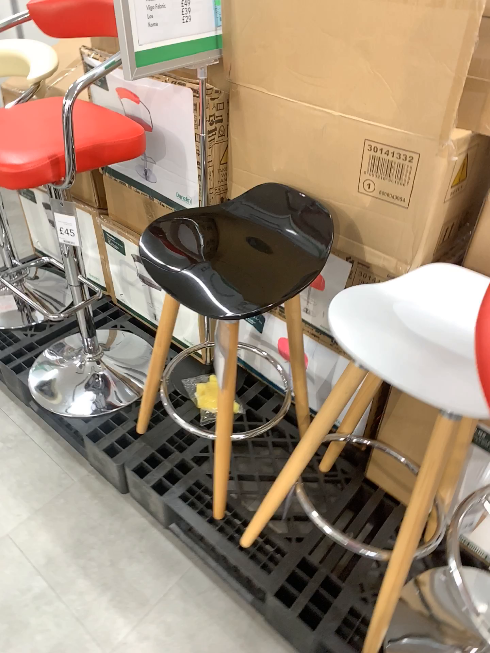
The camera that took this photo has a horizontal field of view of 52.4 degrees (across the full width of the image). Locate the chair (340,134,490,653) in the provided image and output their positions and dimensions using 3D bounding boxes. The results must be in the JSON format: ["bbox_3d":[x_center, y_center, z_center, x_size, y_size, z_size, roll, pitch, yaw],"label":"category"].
[{"bbox_3d":[0.546,0.329,0.723,0.476,0.978,0.479,30,45,31],"label":"chair"}]

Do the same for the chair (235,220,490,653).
[{"bbox_3d":[0.272,0.242,1.014,0.386,0.721,0.418,30,45,31],"label":"chair"}]

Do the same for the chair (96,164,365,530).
[{"bbox_3d":[-0.046,0.052,1.238,0.398,0.721,0.386,-27,47,-33],"label":"chair"}]
